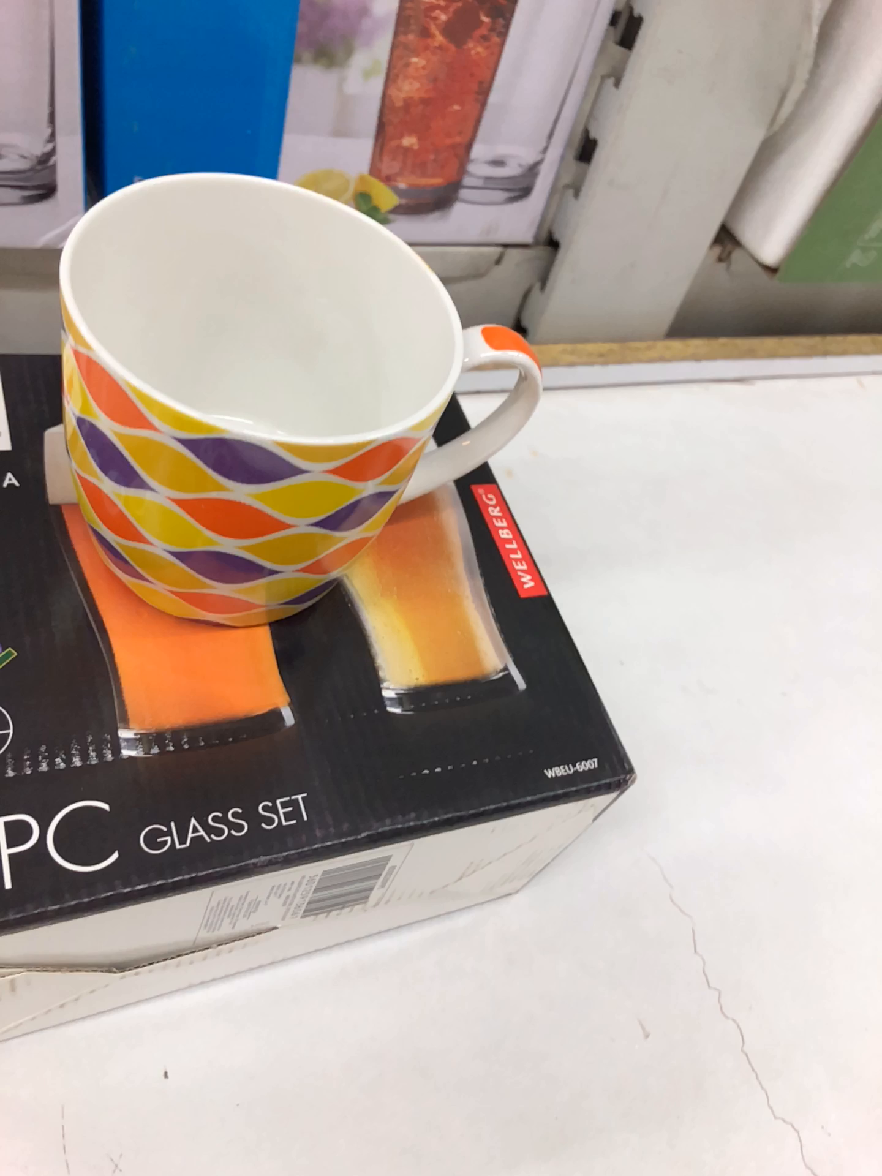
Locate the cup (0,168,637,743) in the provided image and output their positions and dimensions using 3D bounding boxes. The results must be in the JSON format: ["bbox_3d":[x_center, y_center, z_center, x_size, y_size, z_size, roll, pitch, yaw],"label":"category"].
[{"bbox_3d":[-0.043,-0.037,0.246,0.130,0.089,0.090,-10,56,-25],"label":"cup"}]
